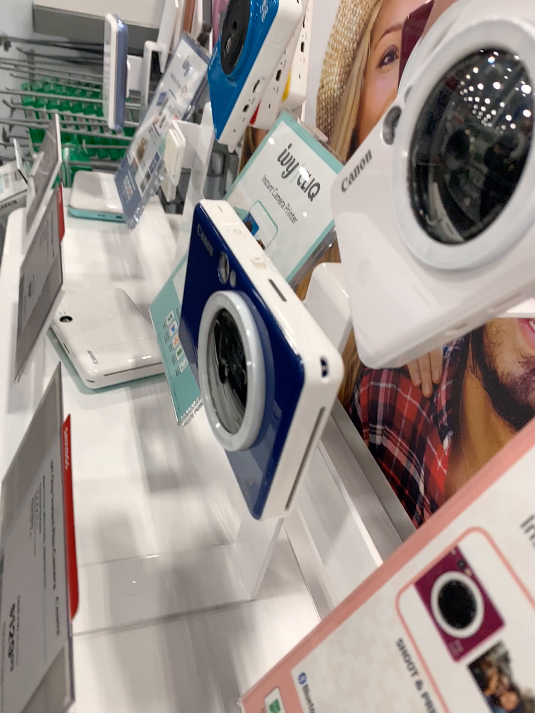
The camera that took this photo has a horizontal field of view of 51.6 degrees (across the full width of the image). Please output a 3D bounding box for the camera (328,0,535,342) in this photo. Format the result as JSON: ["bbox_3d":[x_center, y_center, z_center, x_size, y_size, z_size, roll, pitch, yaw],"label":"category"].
[{"bbox_3d":[0.066,-0.077,0.200,0.028,0.119,0.078,-4,39,-23],"label":"camera"}]

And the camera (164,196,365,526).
[{"bbox_3d":[-0.012,-0.006,0.222,0.028,0.070,0.121,-5,39,-23],"label":"camera"}]

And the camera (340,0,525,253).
[{"bbox_3d":[0.064,-0.101,0.236,0.028,0.110,0.078,-6,12,-23],"label":"camera"}]

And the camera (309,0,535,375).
[{"bbox_3d":[0.055,-0.049,0.162,0.028,0.120,0.078,0,72,-22],"label":"camera"}]
